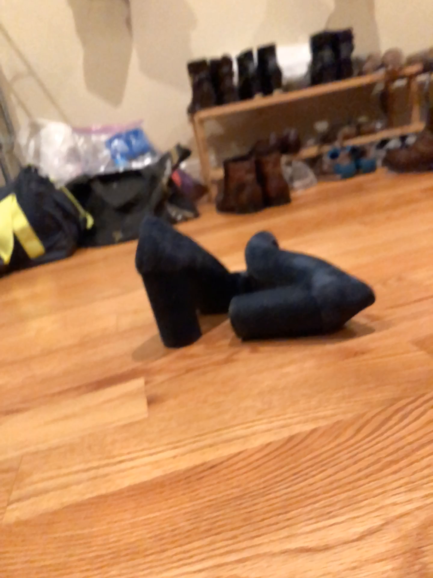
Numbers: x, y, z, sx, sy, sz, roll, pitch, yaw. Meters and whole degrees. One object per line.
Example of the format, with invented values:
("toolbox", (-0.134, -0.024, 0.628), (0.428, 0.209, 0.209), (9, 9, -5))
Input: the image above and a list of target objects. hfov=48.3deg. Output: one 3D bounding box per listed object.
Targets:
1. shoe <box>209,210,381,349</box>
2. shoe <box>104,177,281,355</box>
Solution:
("shoe", (0.101, -0.019, 0.551), (0.152, 0.080, 0.205), (-6, 18, 20))
("shoe", (-0.013, -0.039, 0.596), (0.080, 0.146, 0.227), (-2, 20, 32))
